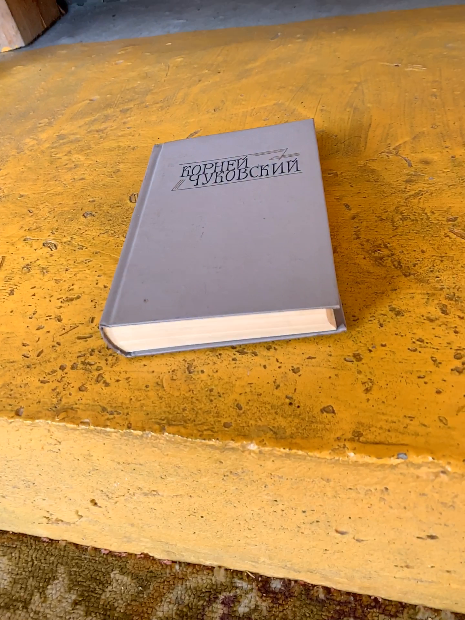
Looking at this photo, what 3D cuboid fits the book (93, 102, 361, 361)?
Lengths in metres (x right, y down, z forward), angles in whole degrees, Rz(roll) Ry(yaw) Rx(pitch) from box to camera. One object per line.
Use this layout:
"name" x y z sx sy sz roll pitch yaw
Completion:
"book" 0.002 -0.067 0.327 0.139 0.030 0.217 -6 46 10
